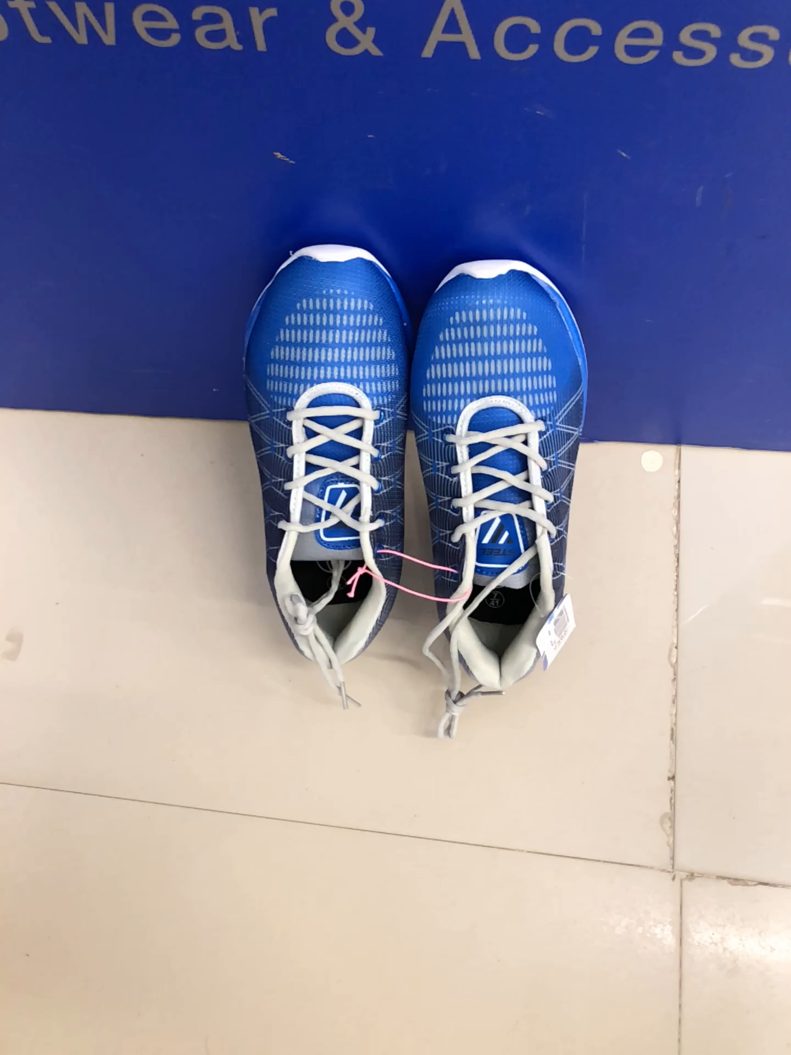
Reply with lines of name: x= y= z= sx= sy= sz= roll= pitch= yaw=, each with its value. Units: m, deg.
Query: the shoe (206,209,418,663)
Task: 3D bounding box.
shoe: x=-0.045 y=-0.055 z=0.563 sx=0.110 sy=0.269 sz=0.100 roll=2 pitch=27 yaw=1

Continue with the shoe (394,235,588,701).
shoe: x=0.061 y=-0.039 z=0.557 sx=0.100 sy=0.120 sz=0.269 roll=0 pitch=111 yaw=6
